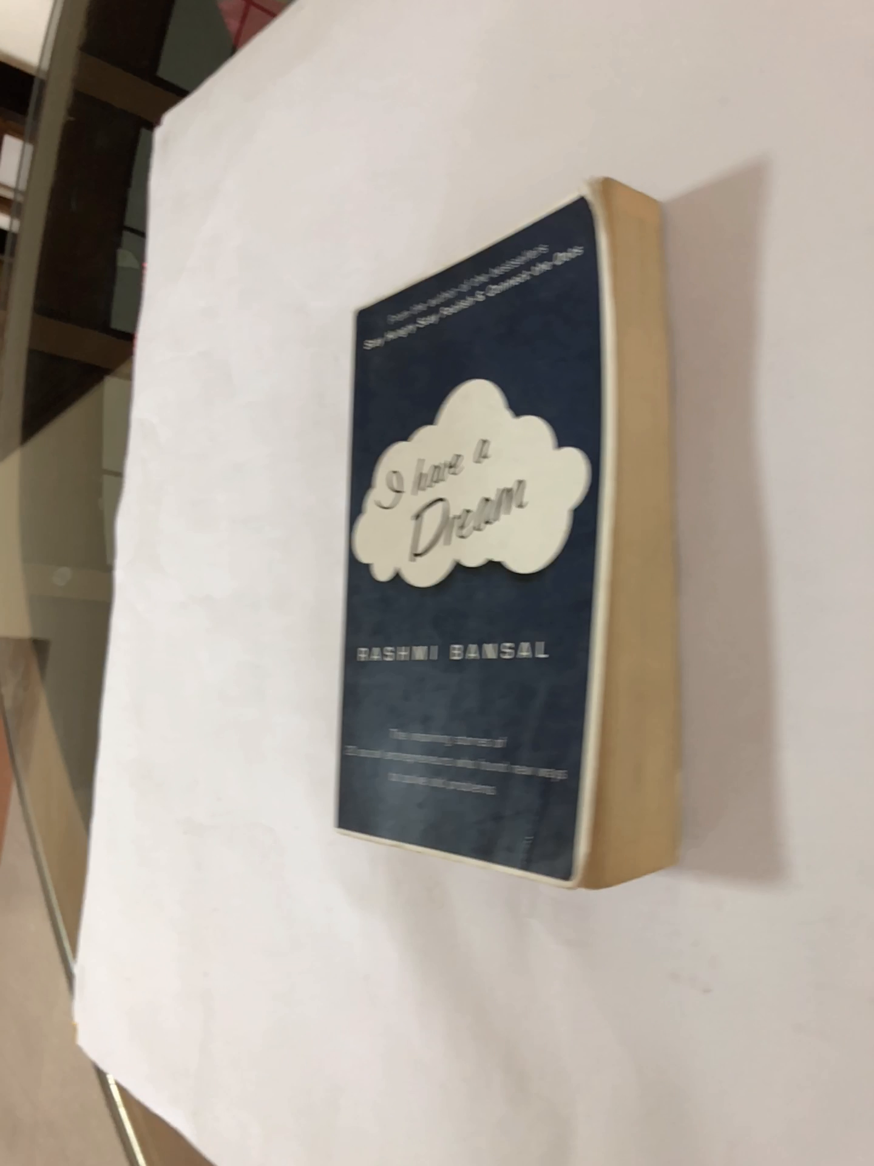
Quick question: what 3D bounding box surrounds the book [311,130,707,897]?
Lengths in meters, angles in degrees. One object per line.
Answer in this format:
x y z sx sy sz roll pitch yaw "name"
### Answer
0.017 -0.015 0.312 0.141 0.030 0.200 -7 78 49 "book"
